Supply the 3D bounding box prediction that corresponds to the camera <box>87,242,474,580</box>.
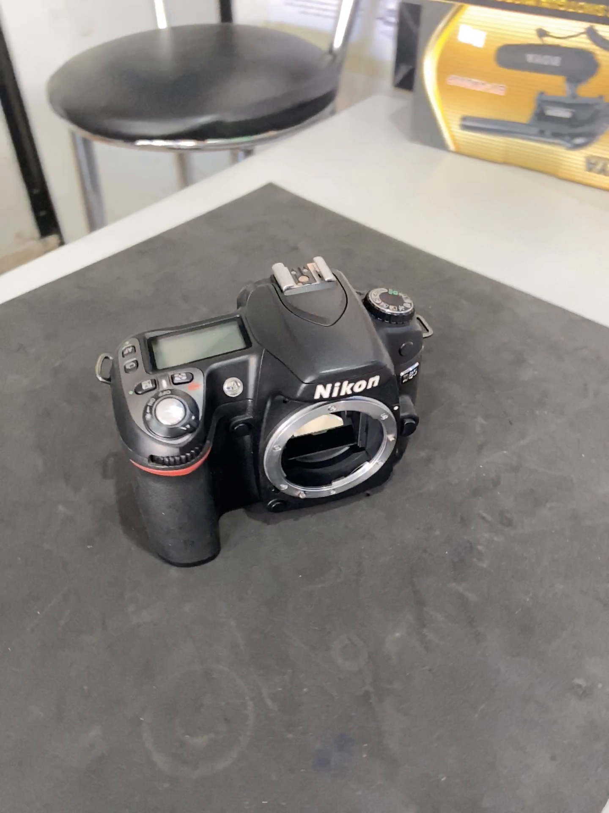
[{"bbox_3d":[-0.013,-0.002,0.281,0.135,0.088,0.084,-14,44,-13],"label":"camera"}]
